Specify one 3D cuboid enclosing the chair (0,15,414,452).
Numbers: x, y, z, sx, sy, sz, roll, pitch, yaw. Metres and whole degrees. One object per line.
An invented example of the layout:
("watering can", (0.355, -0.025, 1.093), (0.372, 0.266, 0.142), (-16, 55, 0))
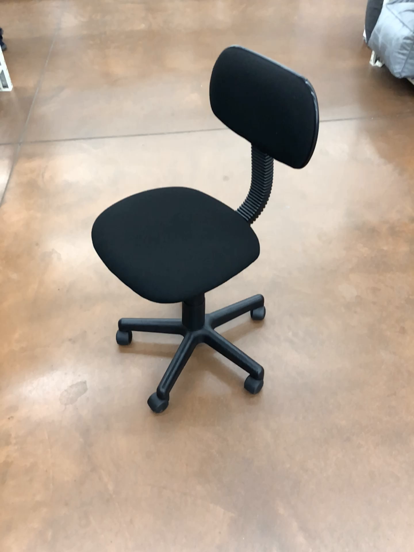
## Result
("chair", (-0.013, -0.145, 1.261), (0.661, 0.797, 0.672), (-26, 49, -24))
